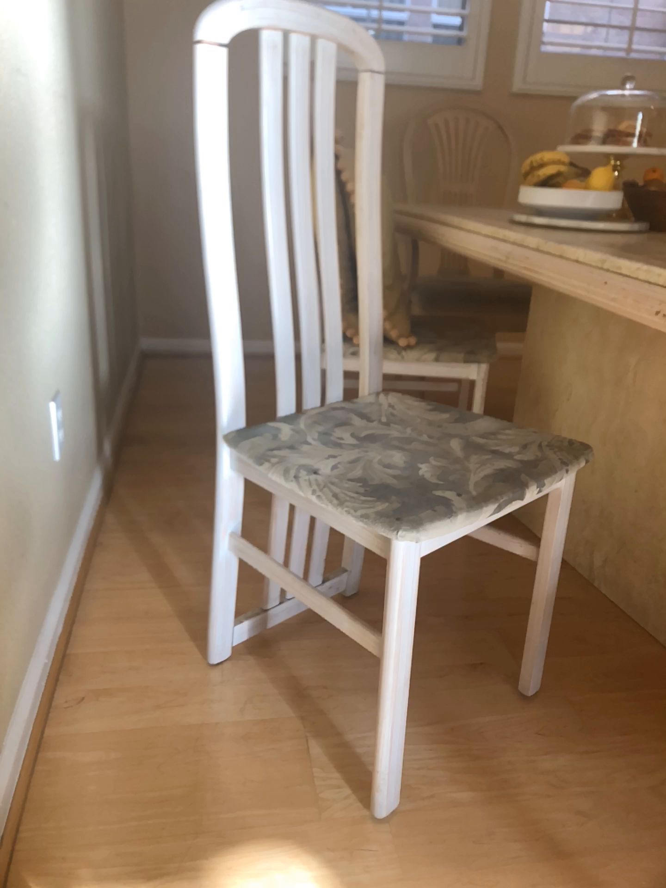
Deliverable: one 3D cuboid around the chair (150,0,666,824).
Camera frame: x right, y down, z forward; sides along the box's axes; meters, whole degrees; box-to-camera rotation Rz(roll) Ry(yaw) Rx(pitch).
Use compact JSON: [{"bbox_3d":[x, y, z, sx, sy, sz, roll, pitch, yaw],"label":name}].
[{"bbox_3d":[0.113,-0.158,1.533,0.633,1.451,0.671,-15,25,-40],"label":"chair"}]
